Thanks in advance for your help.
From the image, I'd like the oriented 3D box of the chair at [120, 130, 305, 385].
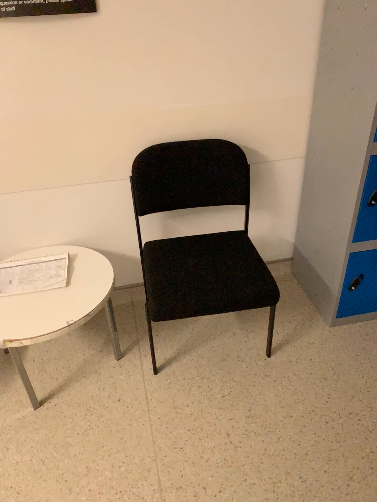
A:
[{"bbox_3d":[0.057,0.015,1.575,0.550,0.824,0.555,-6,33,-5],"label":"chair"}]
